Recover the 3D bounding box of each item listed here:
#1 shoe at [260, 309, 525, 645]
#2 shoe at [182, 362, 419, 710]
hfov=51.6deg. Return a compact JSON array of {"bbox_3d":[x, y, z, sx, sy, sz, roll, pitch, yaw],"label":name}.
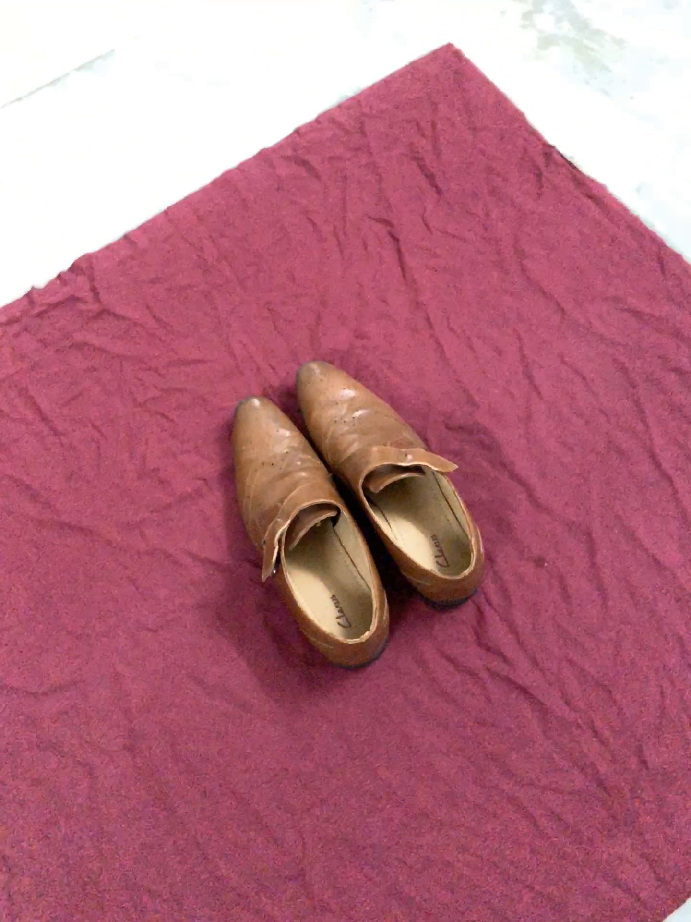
[{"bbox_3d":[0.036,0.010,0.685,0.100,0.090,0.301,-28,69,-9],"label":"shoe"},{"bbox_3d":[-0.047,0.067,0.692,0.100,0.090,0.311,-24,68,-7],"label":"shoe"}]
